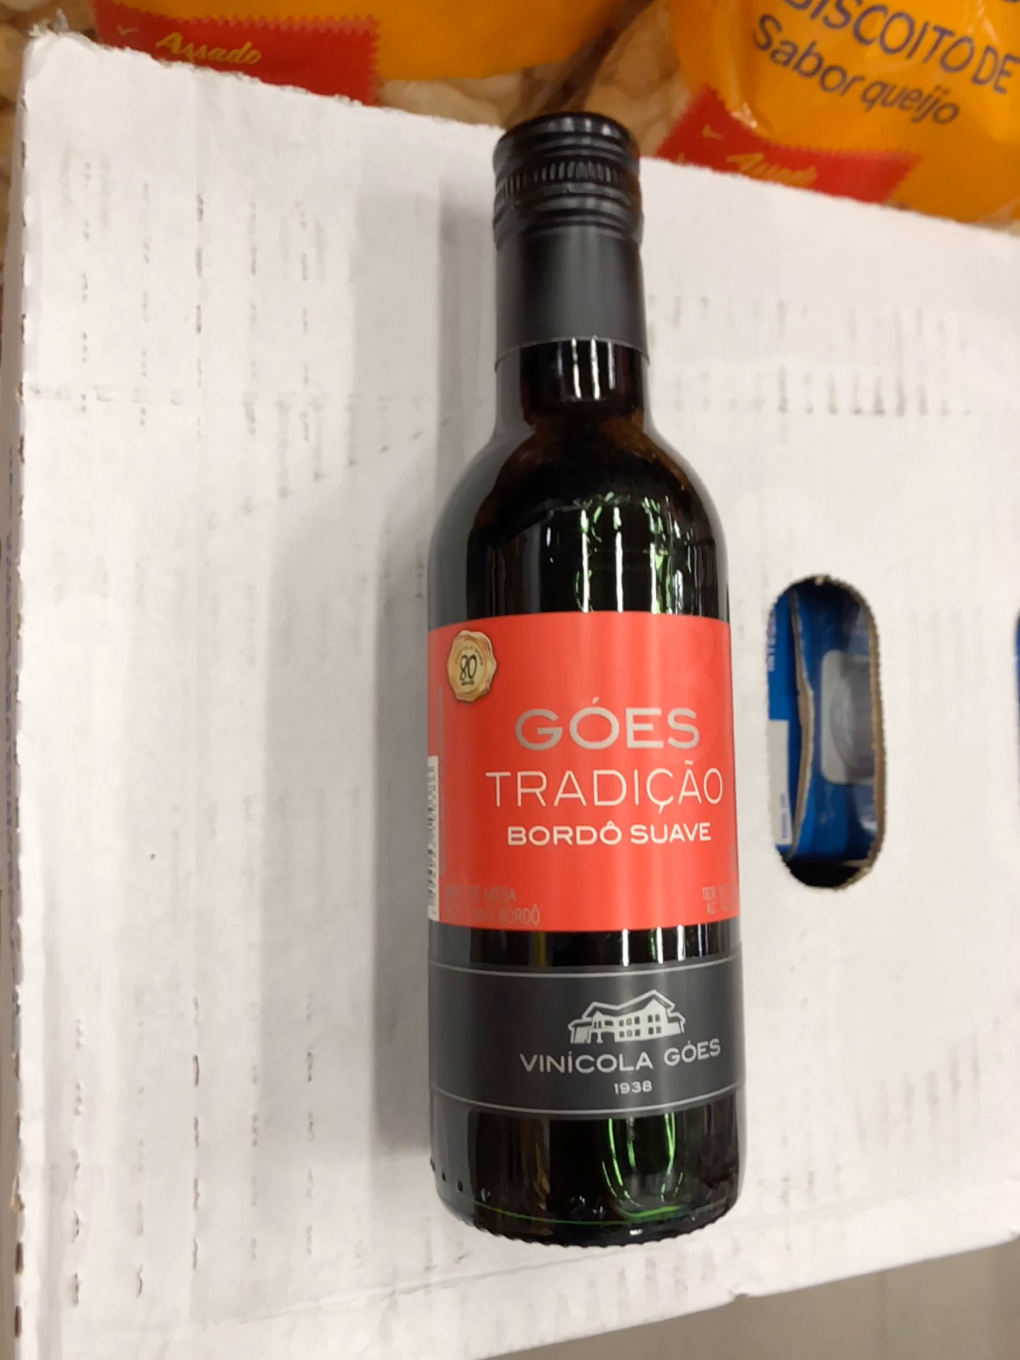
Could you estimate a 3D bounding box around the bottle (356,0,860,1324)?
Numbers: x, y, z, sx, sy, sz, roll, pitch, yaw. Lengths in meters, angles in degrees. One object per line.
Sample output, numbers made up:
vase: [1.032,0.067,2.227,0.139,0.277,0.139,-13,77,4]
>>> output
bottle: [0.012,-0.016,0.198,0.060,0.050,0.210,-1,85,-19]
